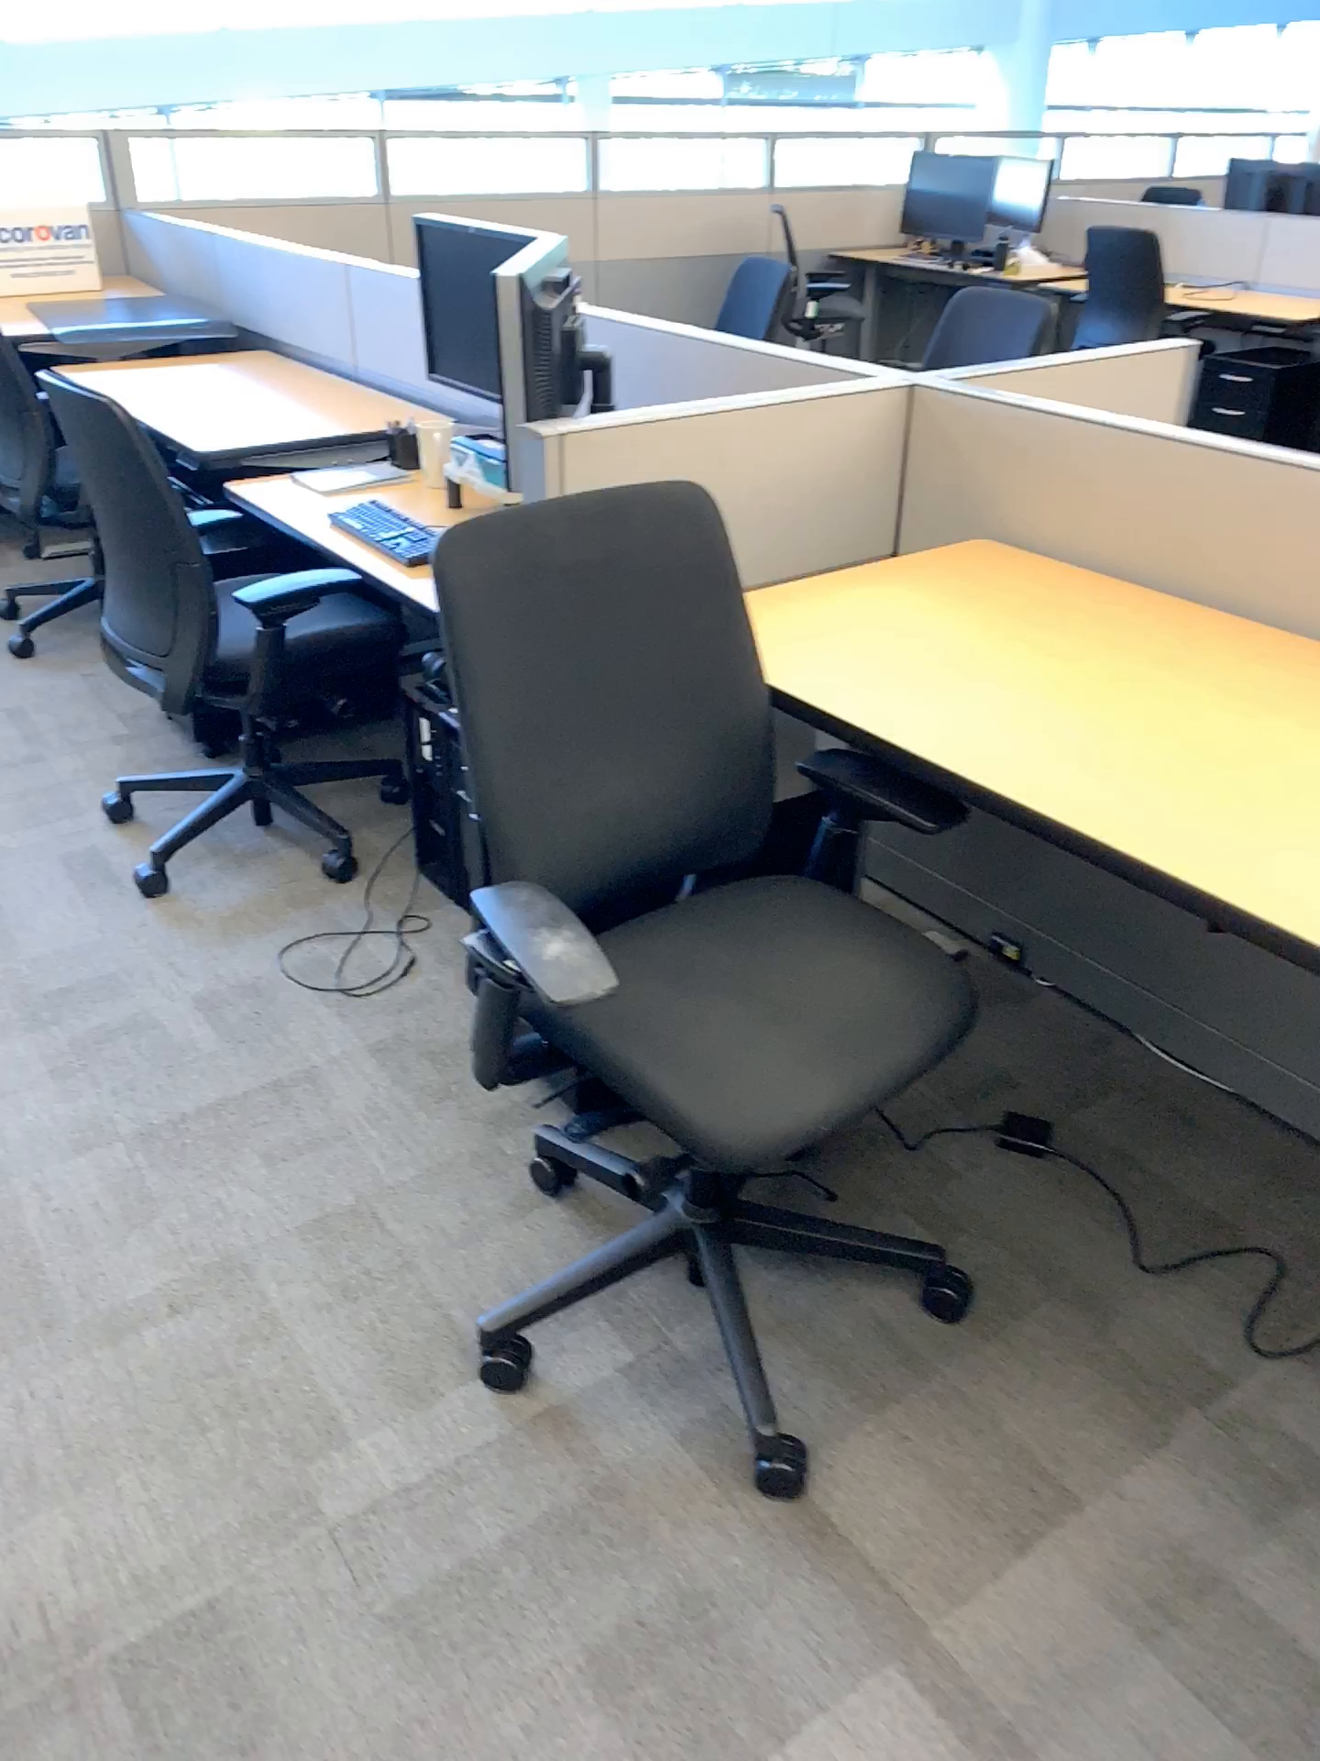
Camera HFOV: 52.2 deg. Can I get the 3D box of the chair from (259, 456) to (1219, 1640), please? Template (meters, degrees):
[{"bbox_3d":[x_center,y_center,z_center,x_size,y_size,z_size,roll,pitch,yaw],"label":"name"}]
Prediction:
[{"bbox_3d":[0.032,0.118,1.596,0.631,0.994,0.764,-18,35,-30],"label":"chair"}]

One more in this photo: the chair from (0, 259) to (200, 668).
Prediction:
[{"bbox_3d":[-1.789,-1.227,3.918,0.581,0.994,0.523,-18,35,-30],"label":"chair"}]

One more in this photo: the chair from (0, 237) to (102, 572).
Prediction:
[{"bbox_3d":[-2.416,-1.690,4.750,0.600,0.994,0.563,-13,32,-23],"label":"chair"}]

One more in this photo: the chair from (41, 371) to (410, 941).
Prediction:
[{"bbox_3d":[-0.891,-0.485,2.826,0.460,0.994,0.543,-18,34,-29],"label":"chair"}]
